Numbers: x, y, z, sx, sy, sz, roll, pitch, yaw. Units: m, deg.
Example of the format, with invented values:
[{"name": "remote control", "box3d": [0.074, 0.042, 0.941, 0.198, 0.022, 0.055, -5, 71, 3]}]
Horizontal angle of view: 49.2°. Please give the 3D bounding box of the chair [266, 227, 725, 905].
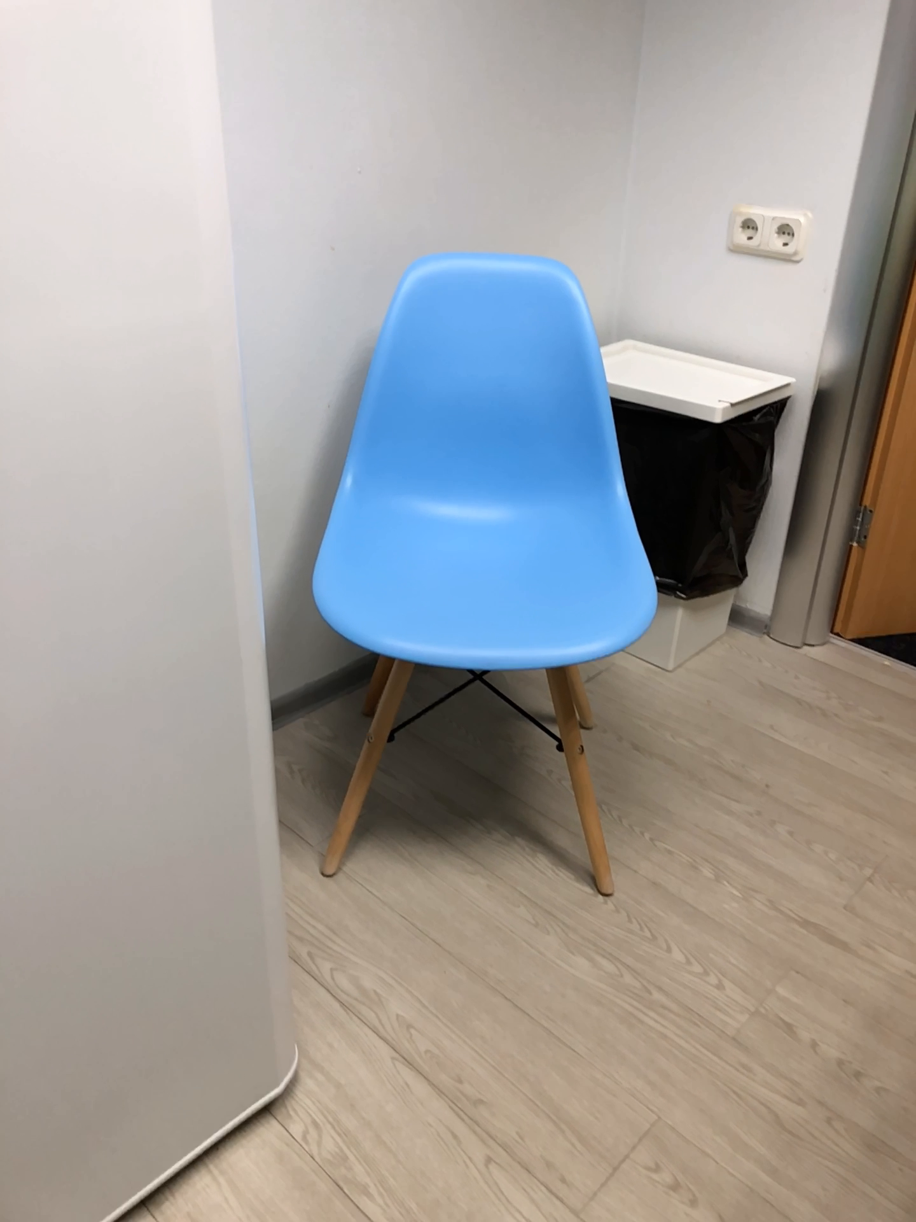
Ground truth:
[{"name": "chair", "box3d": [0.046, -0.086, 1.416, 0.460, 0.775, 0.533, 4, 28, 3]}]
